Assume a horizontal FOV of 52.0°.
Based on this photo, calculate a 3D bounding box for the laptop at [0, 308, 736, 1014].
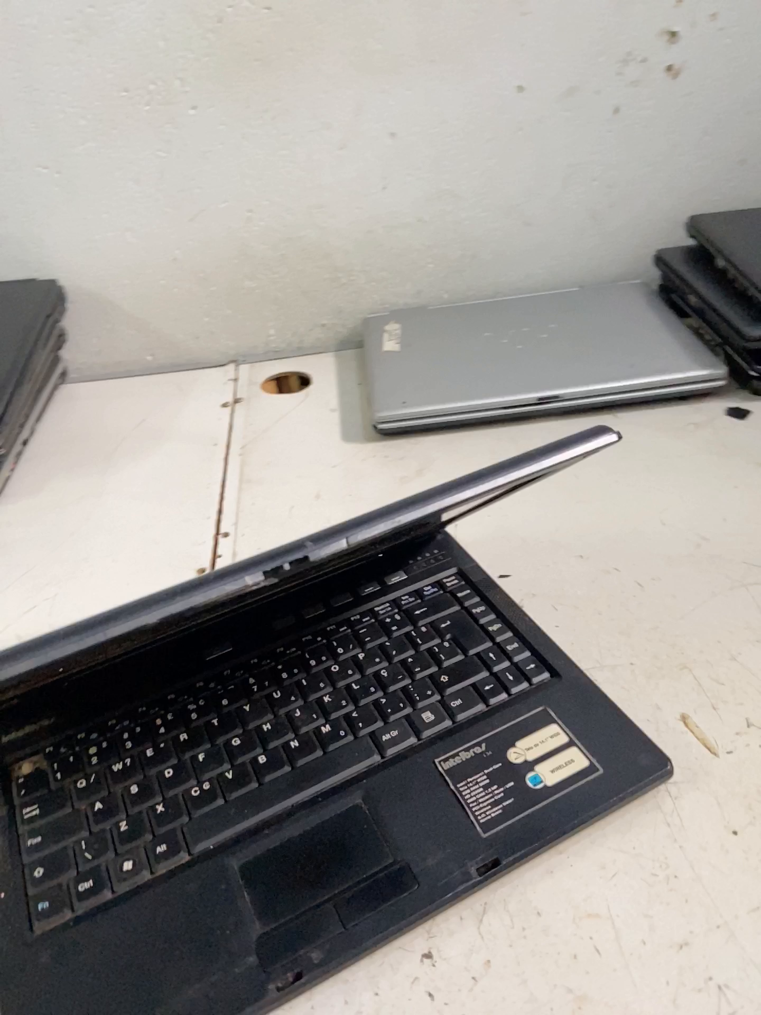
[{"bbox_3d":[-0.050,0.058,0.386,0.324,0.168,0.236,-20,38,-20],"label":"laptop"}]
